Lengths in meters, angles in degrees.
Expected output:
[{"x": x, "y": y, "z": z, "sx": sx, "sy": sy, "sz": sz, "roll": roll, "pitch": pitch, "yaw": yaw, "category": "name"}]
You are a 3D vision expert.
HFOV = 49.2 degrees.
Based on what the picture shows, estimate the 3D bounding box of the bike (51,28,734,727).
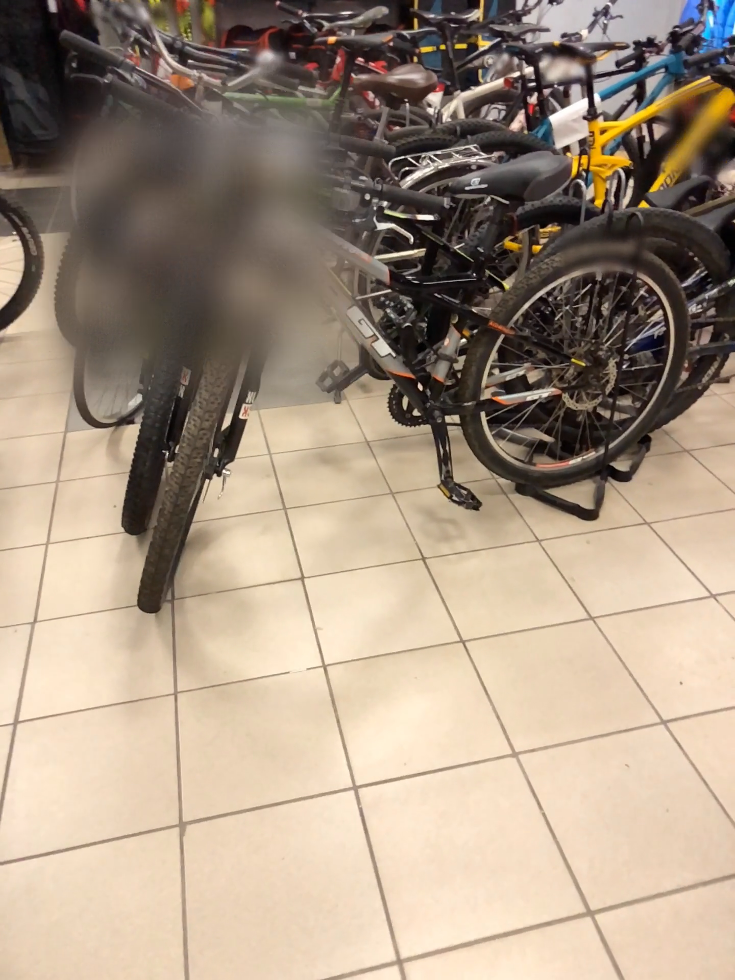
[{"x": 0.225, "y": -0.363, "z": 1.696, "sx": 1.427, "sy": 1.012, "sz": 0.627, "roll": -18, "pitch": 36, "yaw": -29, "category": "bike"}]
